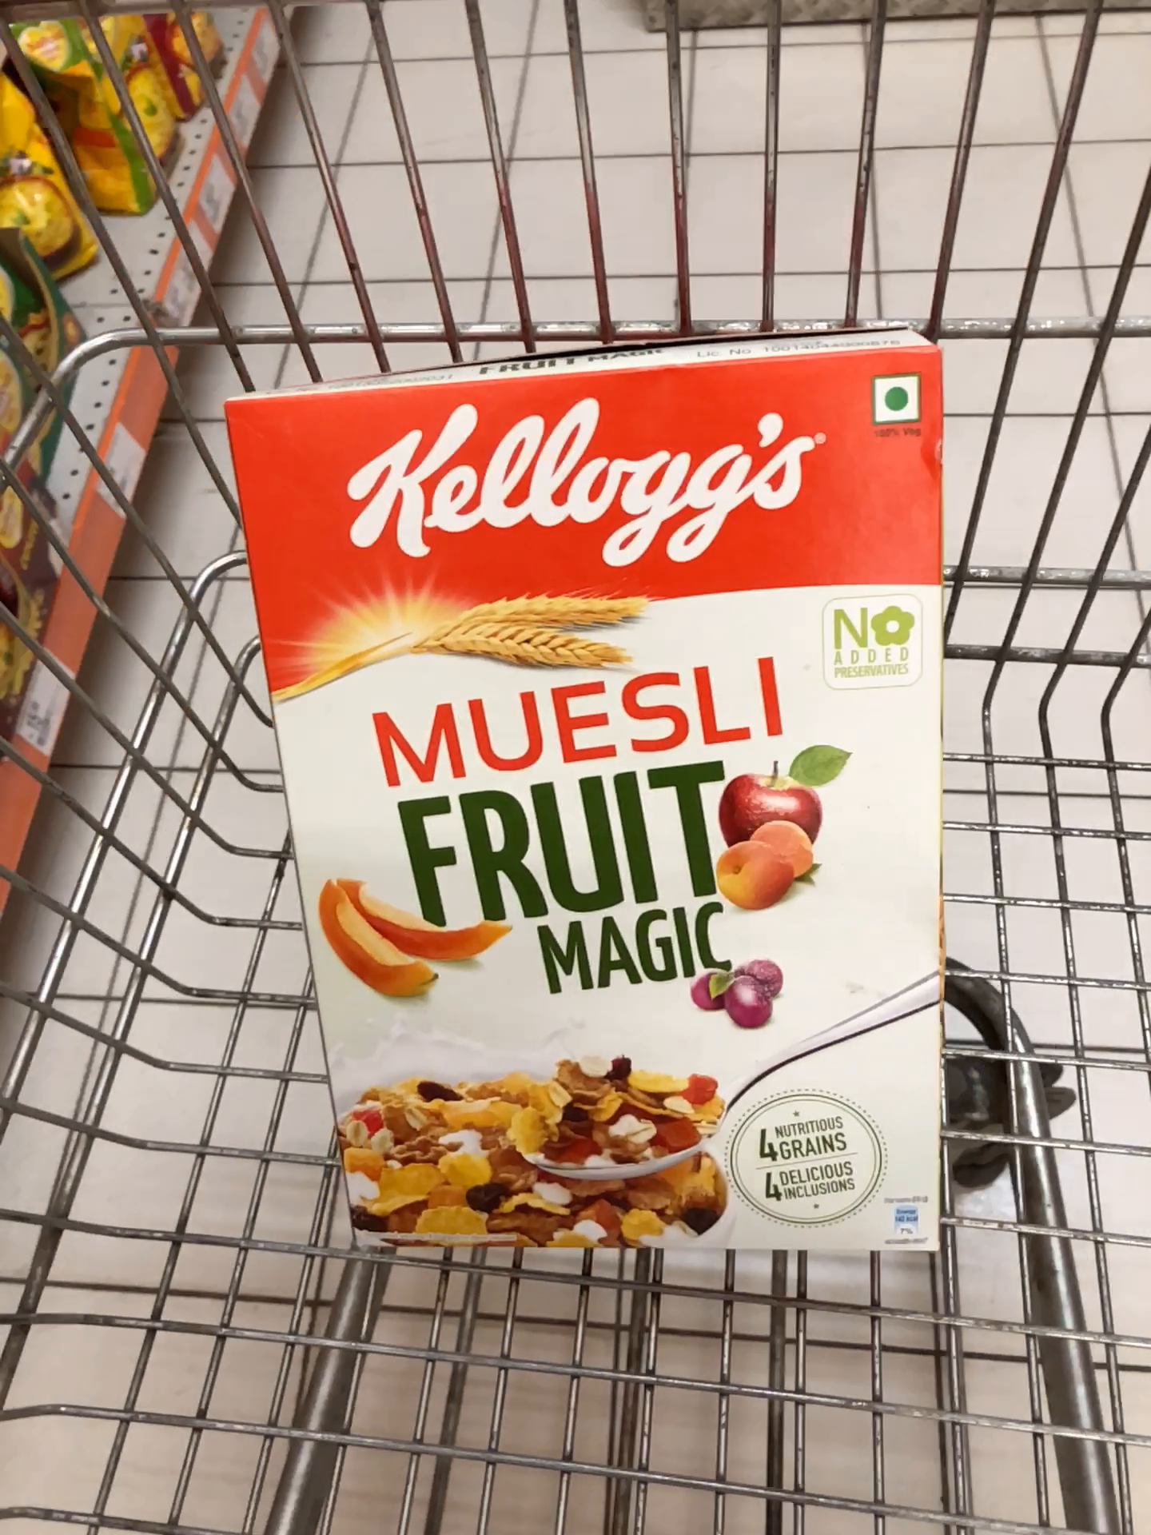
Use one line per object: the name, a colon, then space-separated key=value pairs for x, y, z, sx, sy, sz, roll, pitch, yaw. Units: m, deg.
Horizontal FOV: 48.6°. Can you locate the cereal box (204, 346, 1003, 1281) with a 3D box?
cereal box: x=0.015 y=0.018 z=0.395 sx=0.200 sy=0.269 sz=0.080 roll=-2 pitch=16 yaw=5
